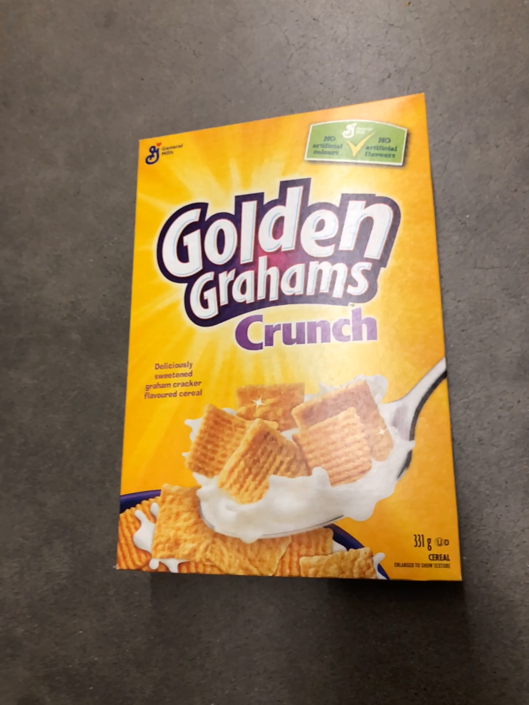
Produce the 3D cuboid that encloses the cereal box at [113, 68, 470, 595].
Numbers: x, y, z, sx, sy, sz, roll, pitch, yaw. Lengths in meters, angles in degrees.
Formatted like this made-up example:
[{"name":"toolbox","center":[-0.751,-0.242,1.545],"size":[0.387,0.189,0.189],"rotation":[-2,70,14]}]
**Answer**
[{"name":"cereal box","center":[0.016,-0.013,0.384],"size":[0.200,0.070,0.300],"rotation":[-4,77,16]}]
